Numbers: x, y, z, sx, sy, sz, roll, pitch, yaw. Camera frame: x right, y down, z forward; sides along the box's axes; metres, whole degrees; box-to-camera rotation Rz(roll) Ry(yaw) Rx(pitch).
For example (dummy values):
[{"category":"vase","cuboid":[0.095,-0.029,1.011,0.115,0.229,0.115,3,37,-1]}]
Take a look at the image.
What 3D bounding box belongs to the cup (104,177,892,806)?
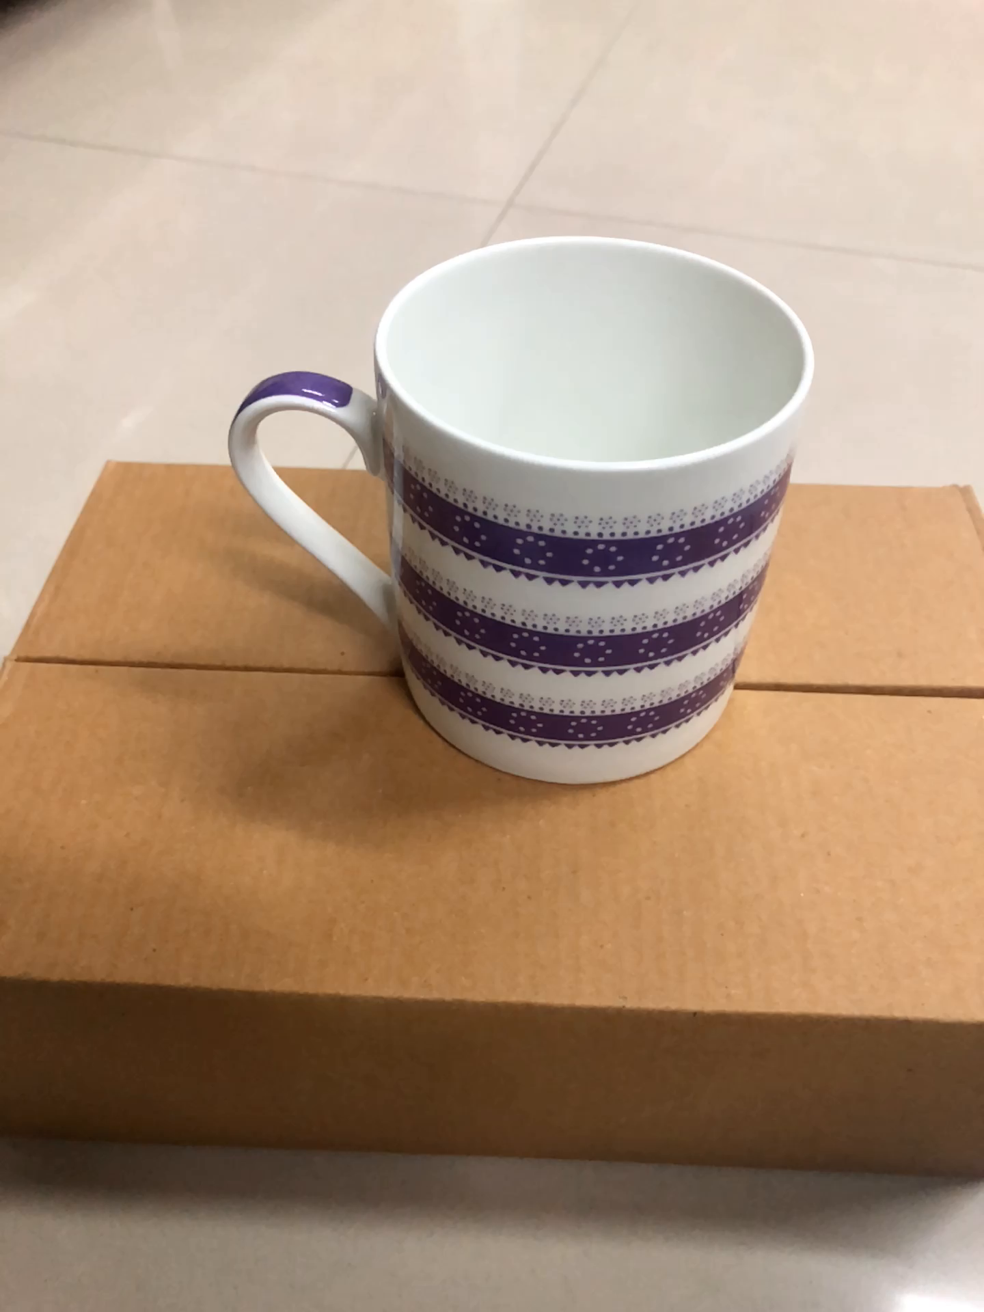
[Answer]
[{"category":"cup","cuboid":[0.002,-0.035,0.231,0.120,0.089,0.091,2,46,2]}]
